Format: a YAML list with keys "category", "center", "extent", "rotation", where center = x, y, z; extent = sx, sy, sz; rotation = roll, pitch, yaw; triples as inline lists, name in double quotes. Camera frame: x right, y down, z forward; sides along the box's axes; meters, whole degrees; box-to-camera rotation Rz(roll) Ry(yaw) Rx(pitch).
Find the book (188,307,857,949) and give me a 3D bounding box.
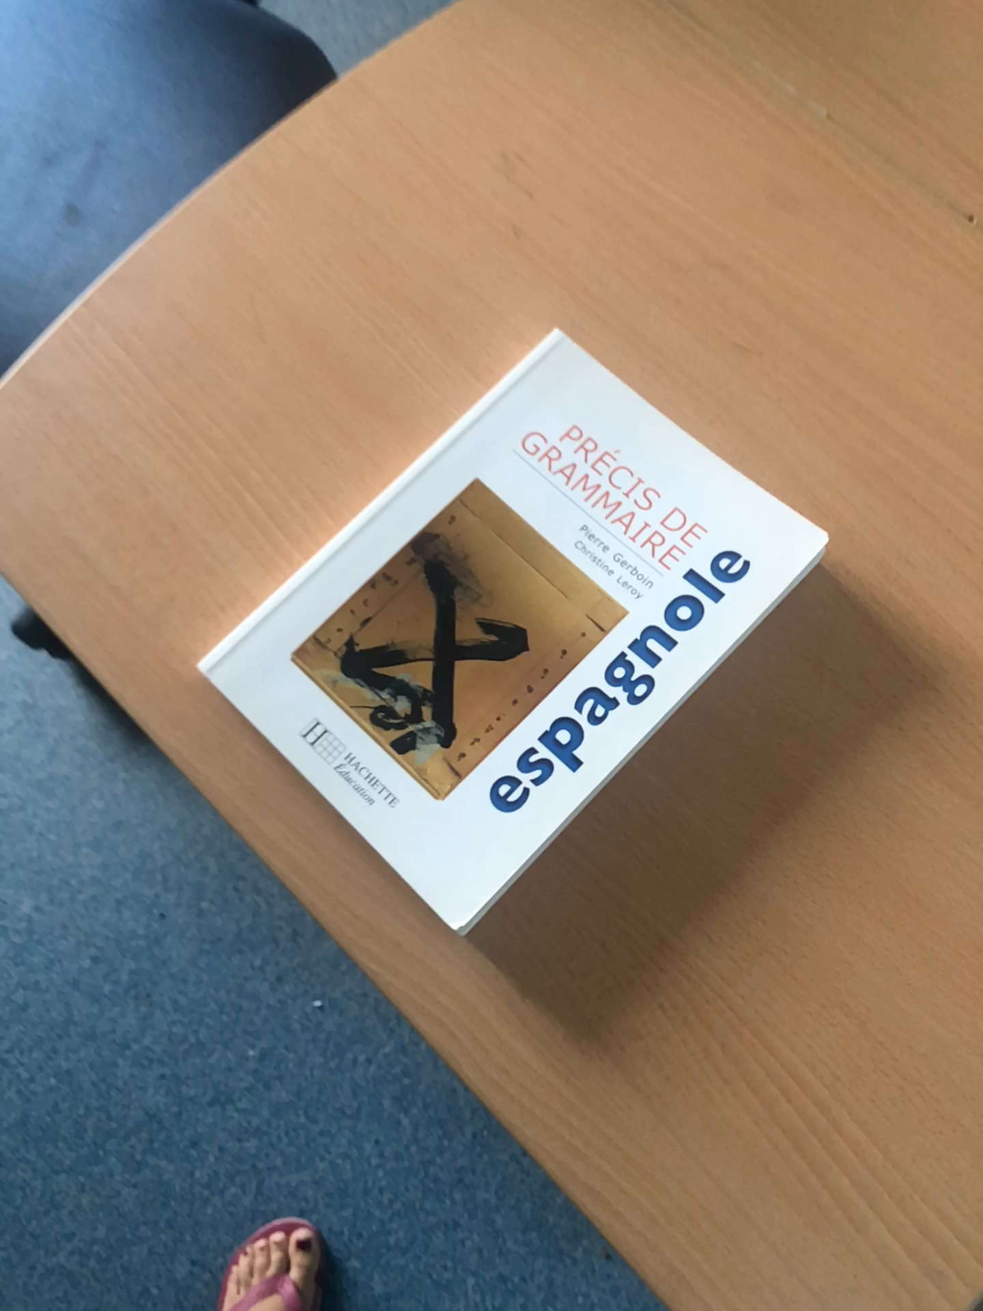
- category: "book"
  center: [0.013, -0.023, 0.489]
  extent: [0.180, 0.020, 0.240]
  rotation: [42, 80, 16]
